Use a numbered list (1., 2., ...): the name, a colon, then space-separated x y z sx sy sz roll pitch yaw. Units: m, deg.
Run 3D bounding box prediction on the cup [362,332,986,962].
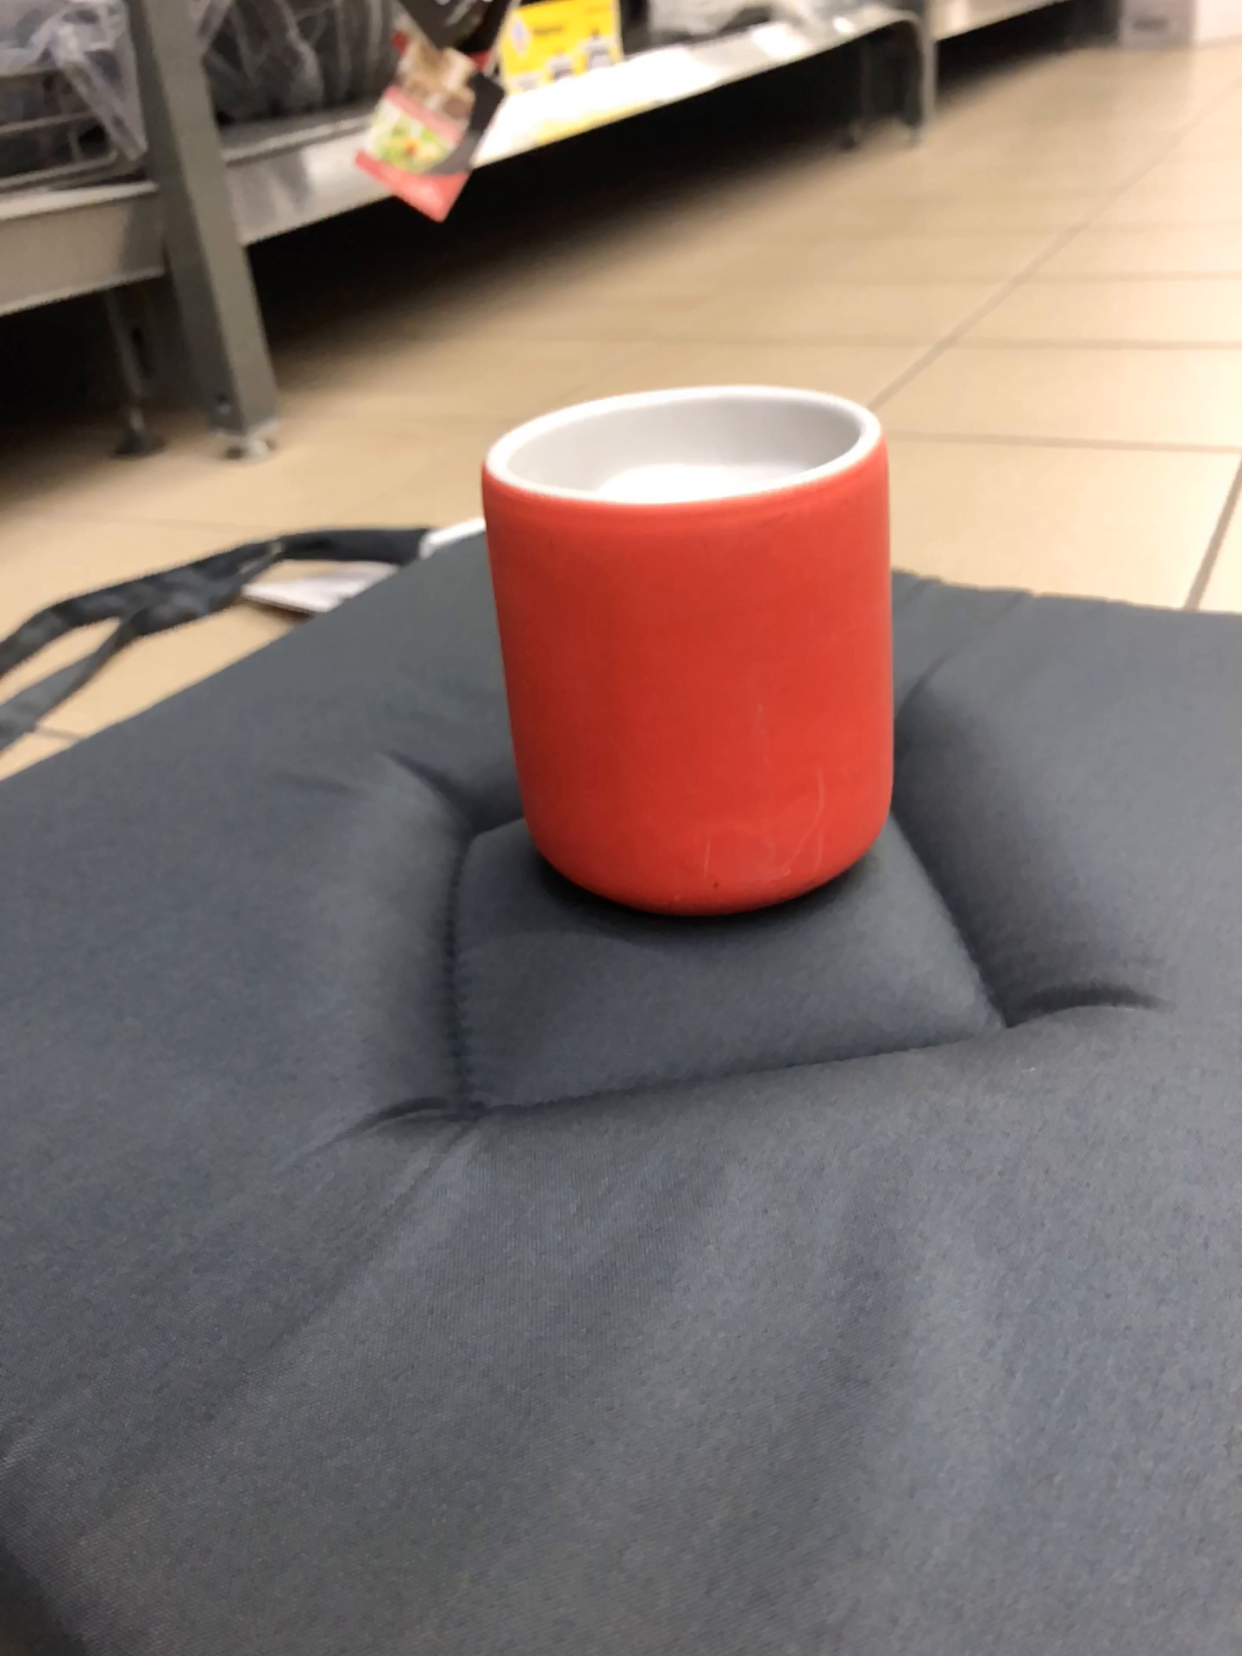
1. cup: 0.022 -0.049 0.308 0.090 0.089 0.121 8 34 23
